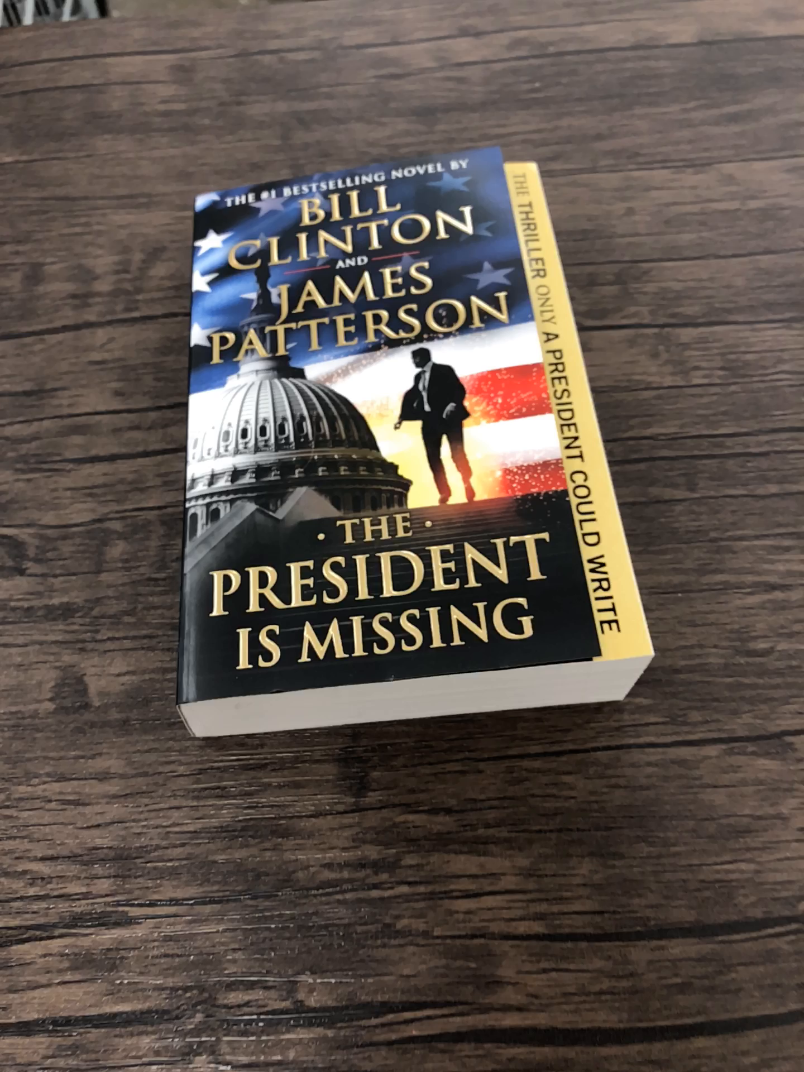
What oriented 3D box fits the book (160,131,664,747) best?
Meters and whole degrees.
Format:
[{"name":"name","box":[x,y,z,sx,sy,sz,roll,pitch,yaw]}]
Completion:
[{"name":"book","box":[-0.006,-0.045,0.324,0.140,0.054,0.216,-6,61,-1]}]
